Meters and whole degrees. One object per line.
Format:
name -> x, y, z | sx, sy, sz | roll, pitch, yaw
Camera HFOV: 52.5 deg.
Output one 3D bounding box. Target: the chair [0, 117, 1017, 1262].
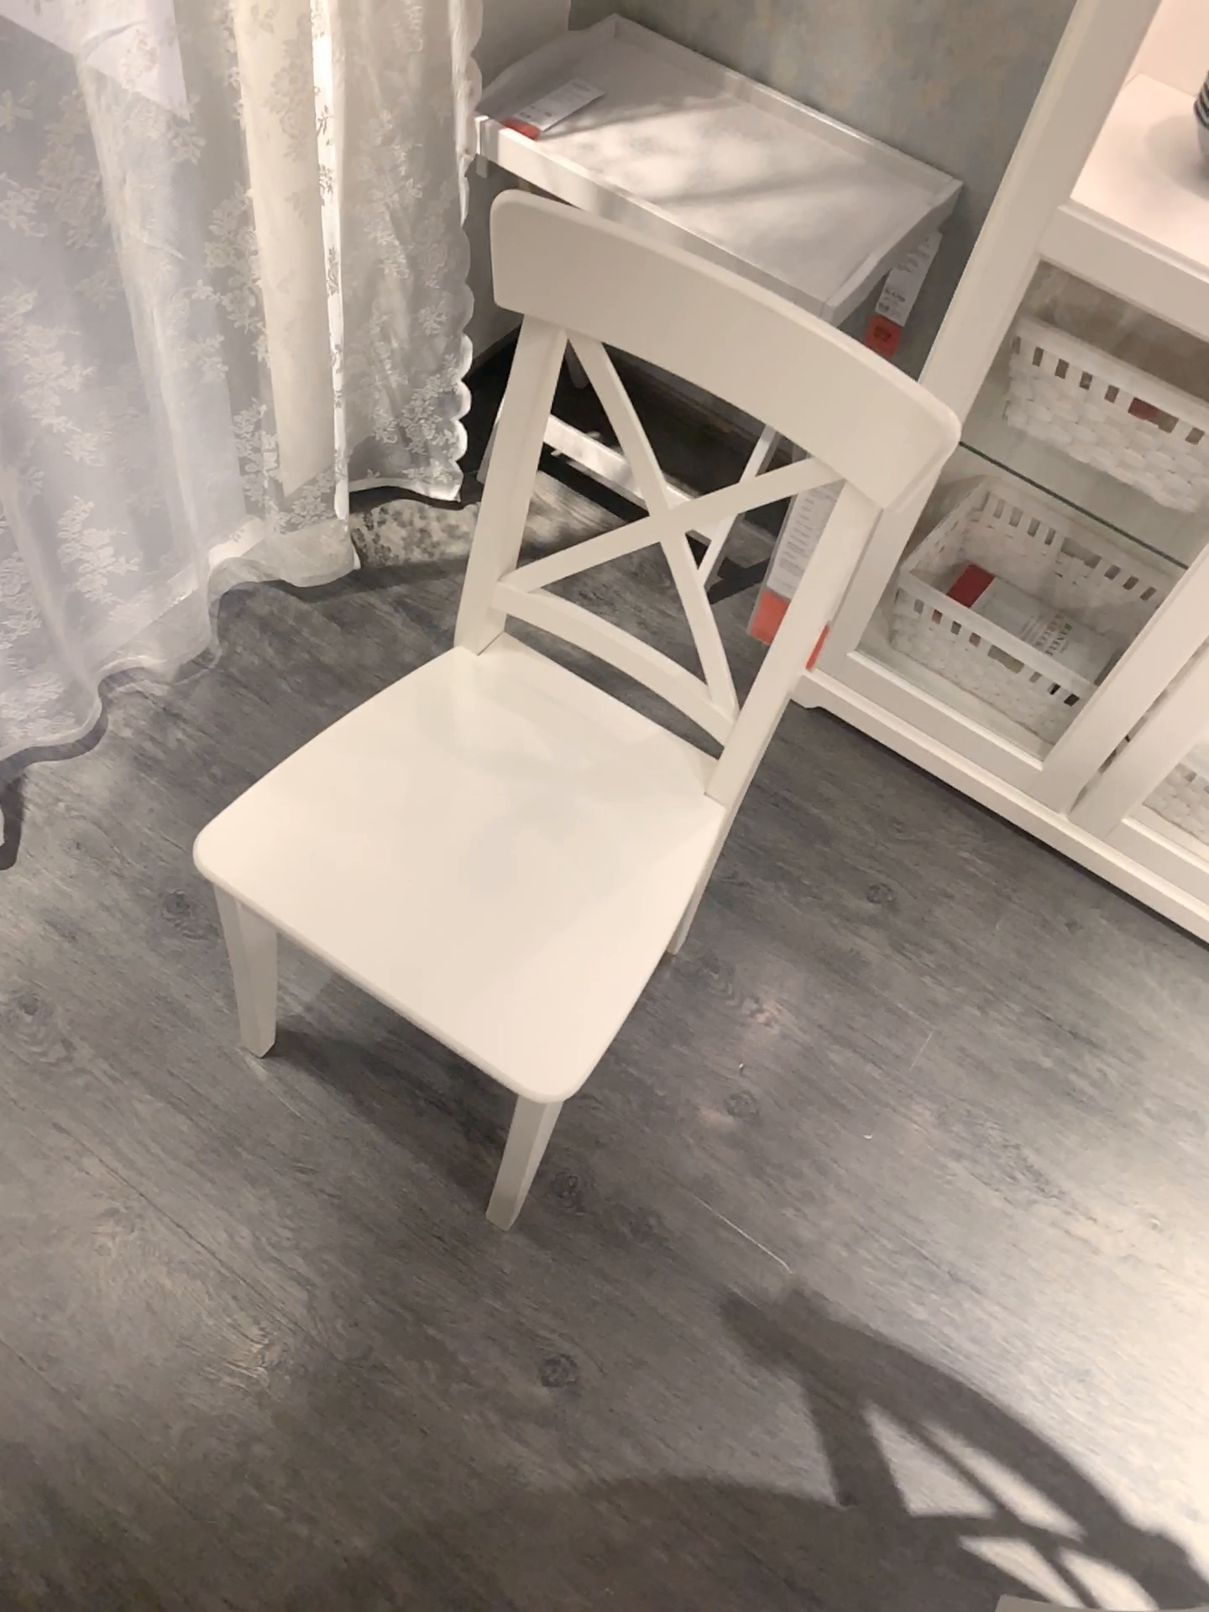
chair -> -0.085, -0.023, 1.129 | 0.440, 0.858, 0.491 | 32, 58, 12
